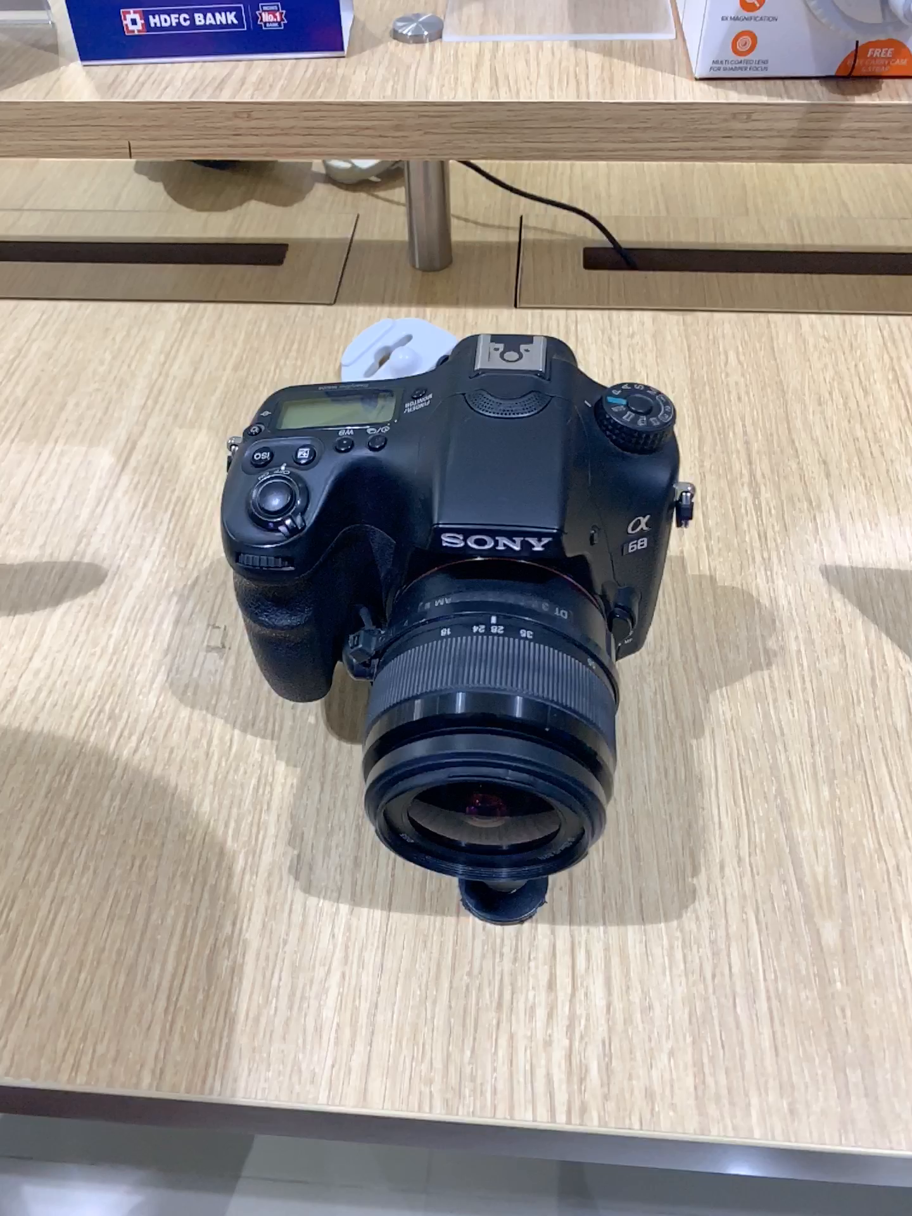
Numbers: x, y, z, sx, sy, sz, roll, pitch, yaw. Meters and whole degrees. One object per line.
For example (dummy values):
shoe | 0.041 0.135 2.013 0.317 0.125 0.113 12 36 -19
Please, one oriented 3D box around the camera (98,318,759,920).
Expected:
camera | -0.002 0.001 0.265 0.130 0.100 0.135 1 51 3
